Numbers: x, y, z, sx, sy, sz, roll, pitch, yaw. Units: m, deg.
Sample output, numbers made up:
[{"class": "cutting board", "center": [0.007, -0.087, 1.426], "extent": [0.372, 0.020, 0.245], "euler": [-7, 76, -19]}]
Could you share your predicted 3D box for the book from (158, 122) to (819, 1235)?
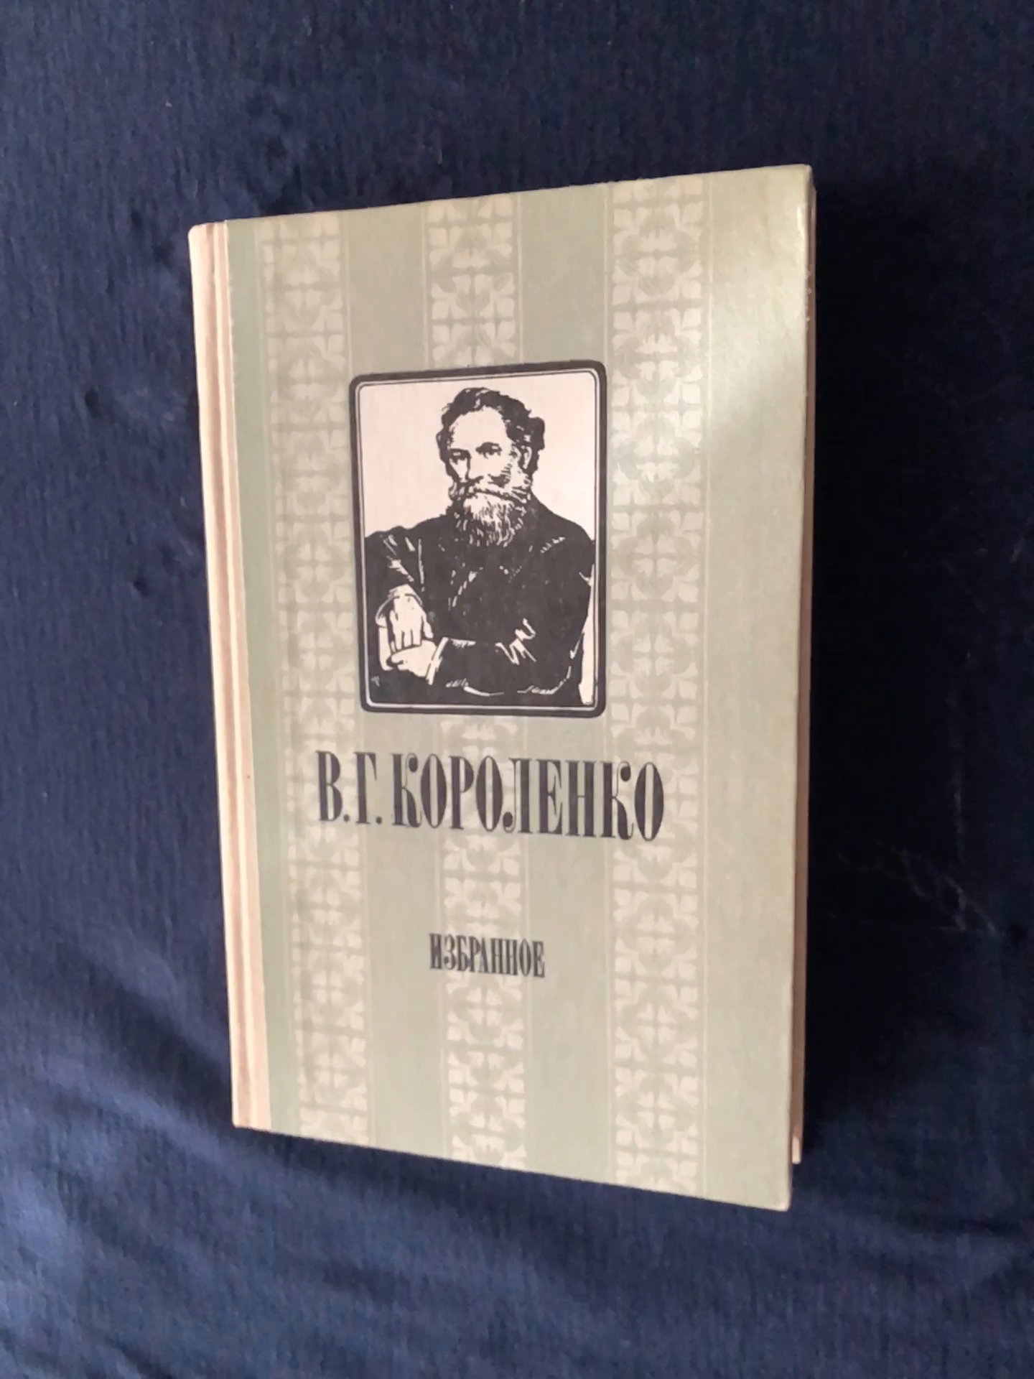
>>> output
[{"class": "book", "center": [-0.006, 0.001, 0.248], "extent": [0.132, 0.030, 0.210], "euler": [1, 97, 15]}]
